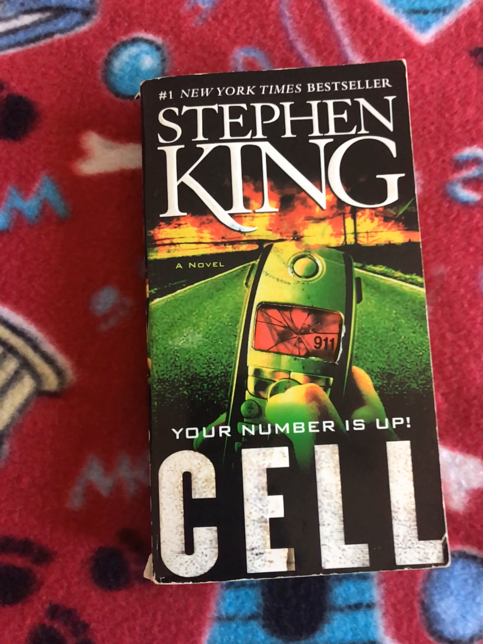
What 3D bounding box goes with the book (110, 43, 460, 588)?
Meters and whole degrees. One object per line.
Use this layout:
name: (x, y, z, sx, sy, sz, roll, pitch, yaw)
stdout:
book: (0.012, -0.008, 0.215, 0.120, 0.030, 0.200, -2, 83, -3)
